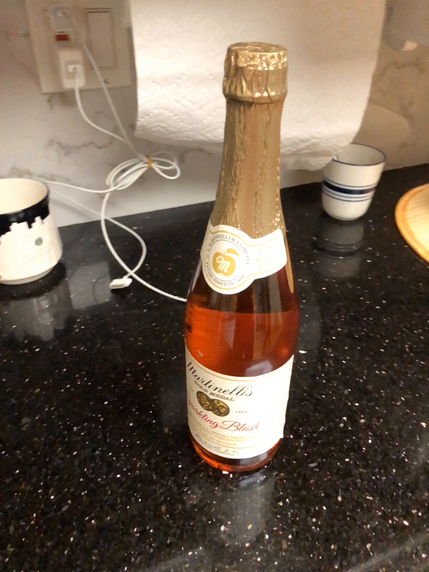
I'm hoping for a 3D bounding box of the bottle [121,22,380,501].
[{"bbox_3d":[0.018,0.002,0.316,0.090,0.298,0.090,0,36,0],"label":"bottle"}]
